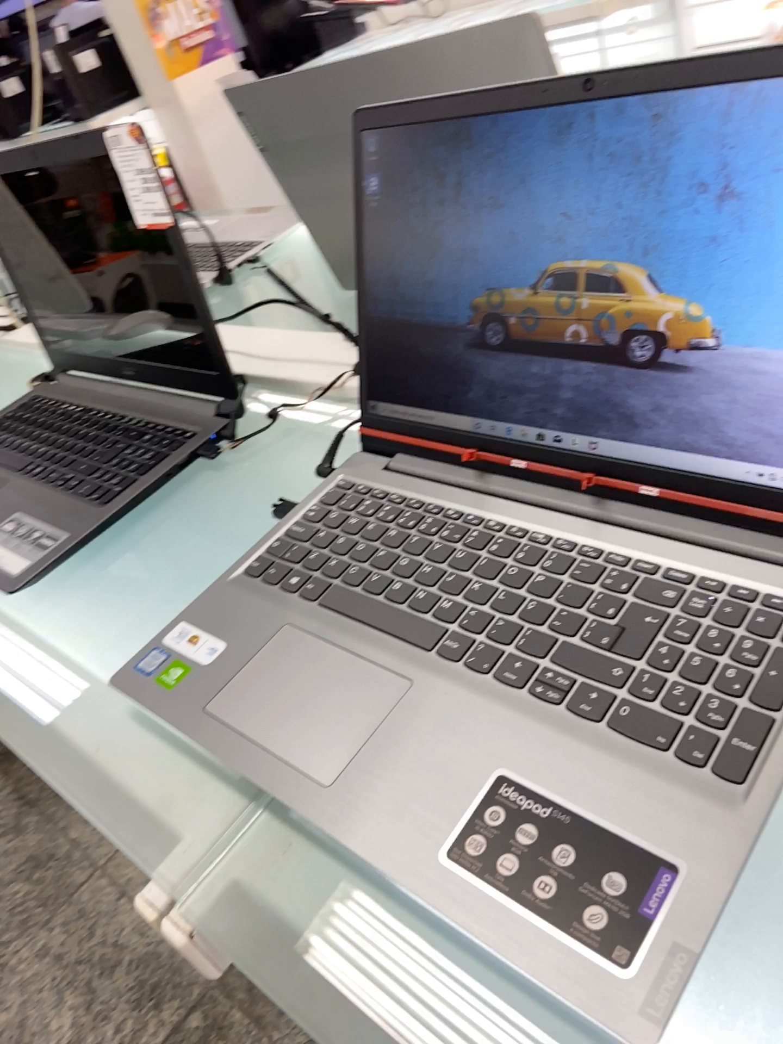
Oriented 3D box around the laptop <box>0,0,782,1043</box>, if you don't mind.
[{"bbox_3d":[0.030,-0.053,0.412,0.365,0.214,0.352,16,50,41],"label":"laptop"}]
